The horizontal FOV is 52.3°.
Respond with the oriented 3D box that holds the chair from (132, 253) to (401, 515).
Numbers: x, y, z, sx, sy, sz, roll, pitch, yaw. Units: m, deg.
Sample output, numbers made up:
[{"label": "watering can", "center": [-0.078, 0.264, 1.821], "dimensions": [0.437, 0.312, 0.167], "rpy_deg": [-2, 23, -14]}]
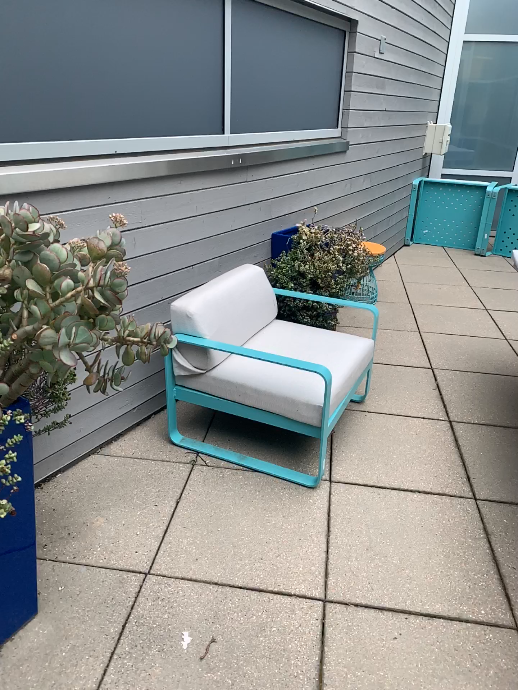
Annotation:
[{"label": "chair", "center": [0.081, 0.083, 2.554], "dimensions": [0.901, 0.736, 0.974], "rpy_deg": [13, 26, 23]}]
